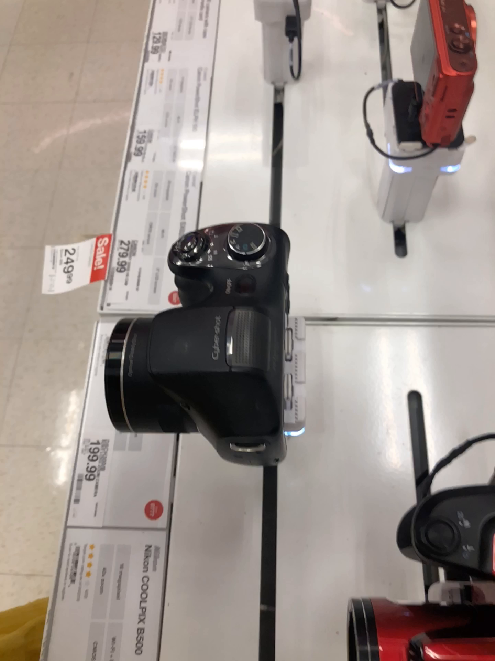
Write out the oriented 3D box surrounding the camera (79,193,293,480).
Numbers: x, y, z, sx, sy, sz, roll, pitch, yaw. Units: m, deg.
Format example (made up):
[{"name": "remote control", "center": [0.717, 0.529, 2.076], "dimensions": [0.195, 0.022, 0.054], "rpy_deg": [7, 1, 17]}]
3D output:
[{"name": "camera", "center": [-0.021, 0.006, 0.303], "dimensions": [0.090, 0.090, 0.130], "rpy_deg": [1, 66, 5]}]
